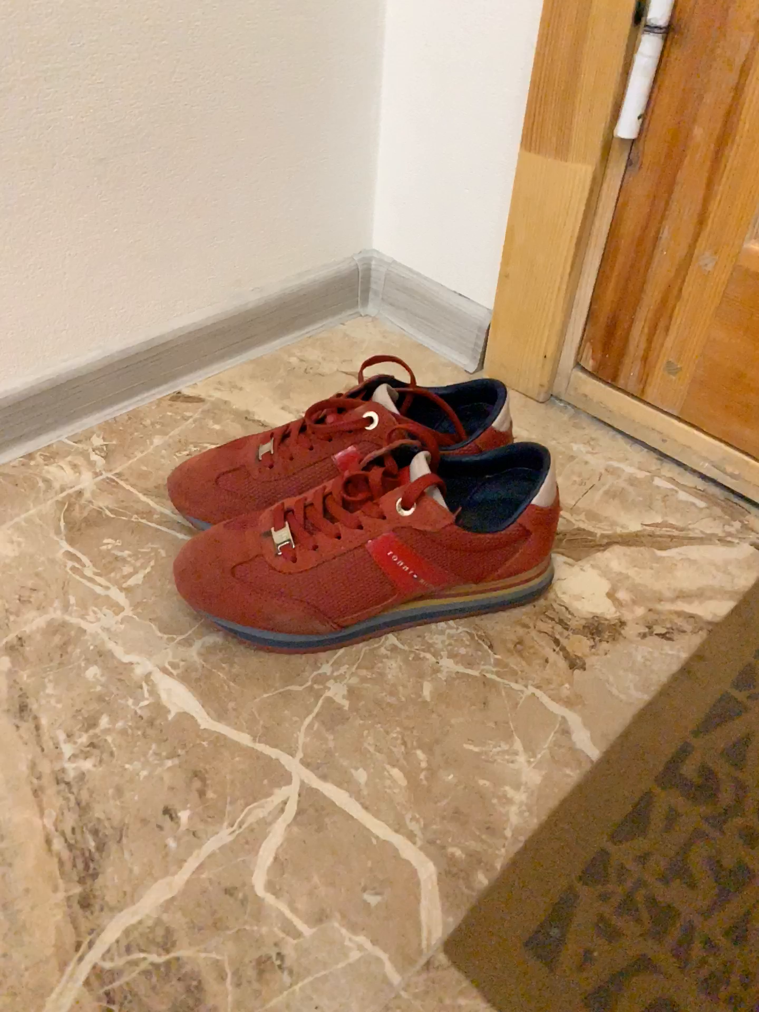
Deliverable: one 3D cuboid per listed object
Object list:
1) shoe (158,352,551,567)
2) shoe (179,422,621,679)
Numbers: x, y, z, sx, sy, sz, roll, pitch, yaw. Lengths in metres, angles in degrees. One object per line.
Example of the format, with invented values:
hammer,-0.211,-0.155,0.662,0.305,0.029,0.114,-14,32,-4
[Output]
shoe,-0.021,-0.035,0.529,0.240,0.090,0.090,-6,42,-11
shoe,0.007,0.022,0.477,0.240,0.090,0.090,-7,43,-13
